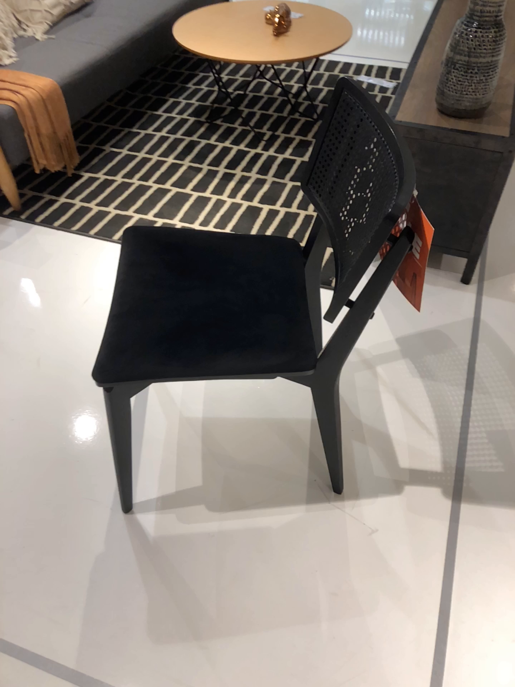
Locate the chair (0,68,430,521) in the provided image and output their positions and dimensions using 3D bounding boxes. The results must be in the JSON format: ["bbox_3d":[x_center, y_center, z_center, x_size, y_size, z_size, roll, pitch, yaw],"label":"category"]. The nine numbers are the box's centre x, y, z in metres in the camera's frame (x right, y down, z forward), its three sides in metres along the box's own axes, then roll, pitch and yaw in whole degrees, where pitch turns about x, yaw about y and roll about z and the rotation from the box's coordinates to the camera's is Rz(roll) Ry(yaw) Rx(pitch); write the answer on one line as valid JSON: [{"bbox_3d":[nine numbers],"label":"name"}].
[{"bbox_3d":[-0.064,-0.072,1.161,0.550,0.745,0.534,-2,45,-1],"label":"chair"}]
